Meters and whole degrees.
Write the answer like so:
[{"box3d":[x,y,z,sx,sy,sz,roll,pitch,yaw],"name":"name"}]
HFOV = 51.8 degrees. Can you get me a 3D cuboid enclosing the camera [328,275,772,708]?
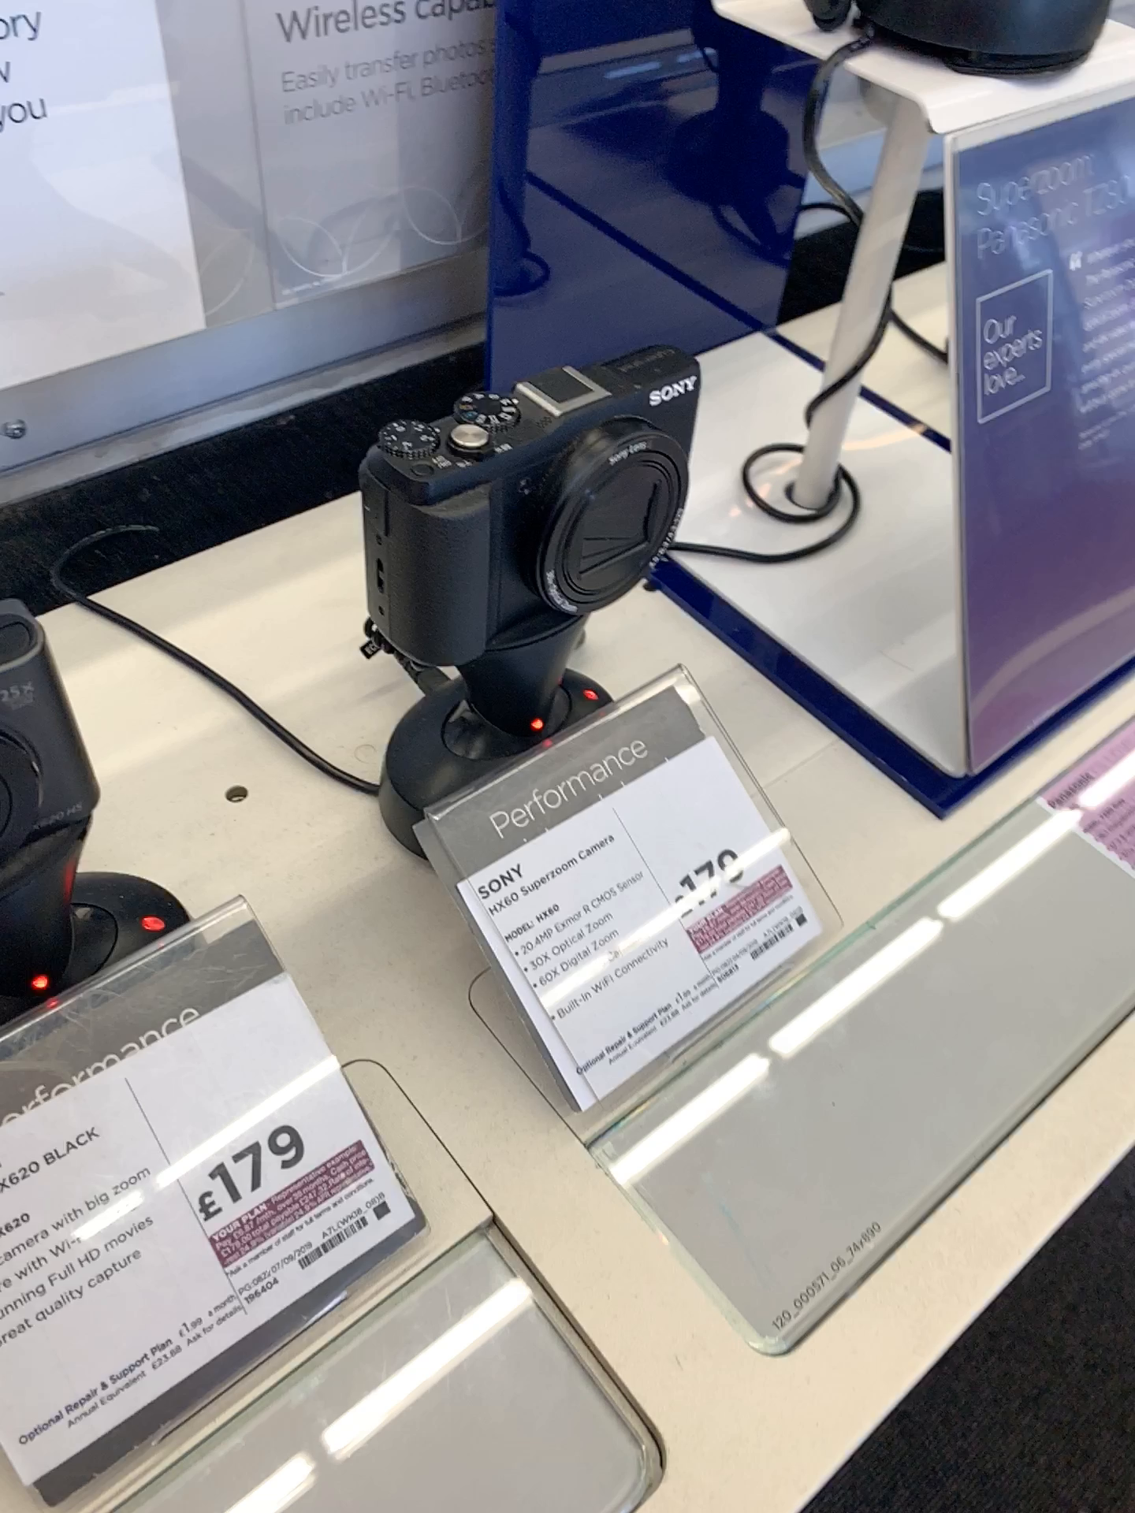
[{"box3d":[-0.004,-0.073,0.313,0.110,0.069,0.040,-32,58,-29],"name":"camera"}]
